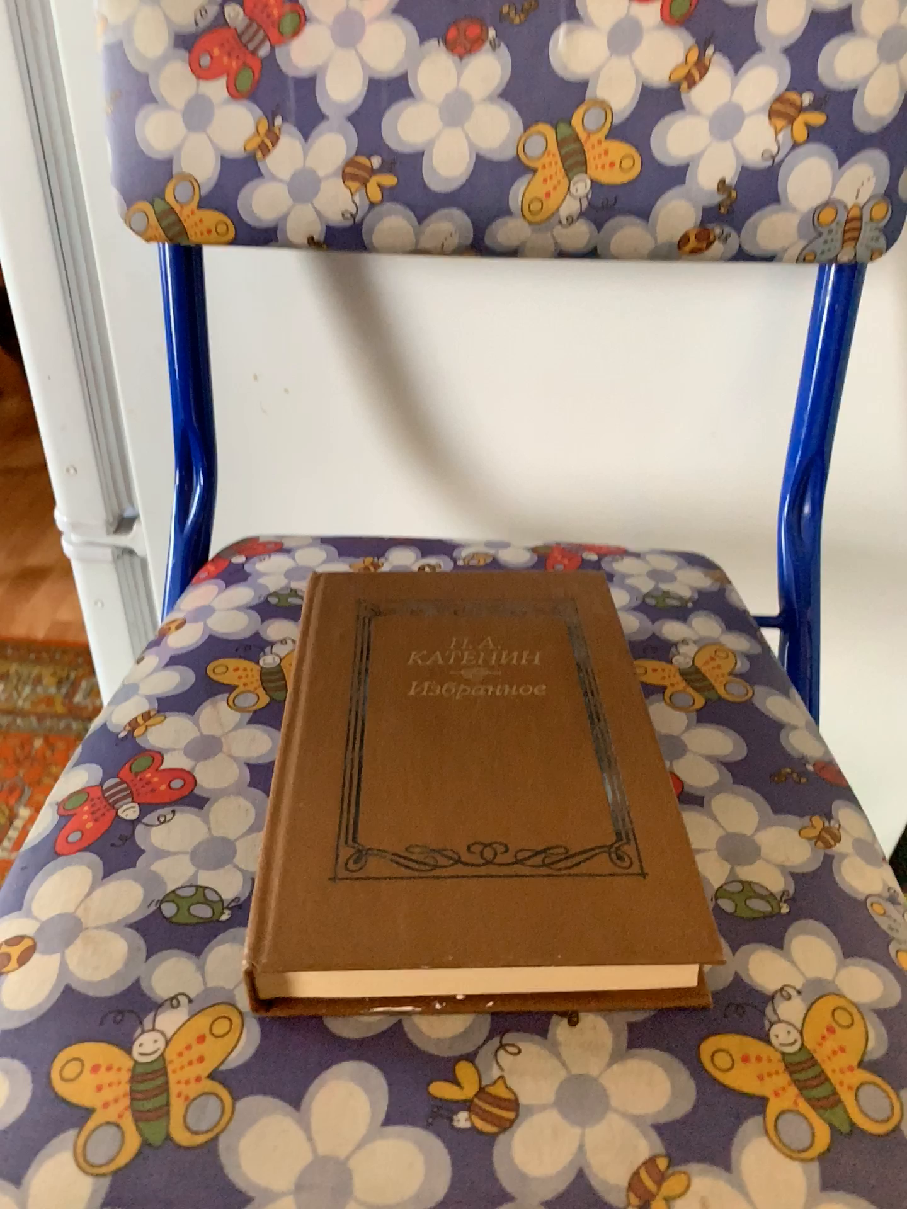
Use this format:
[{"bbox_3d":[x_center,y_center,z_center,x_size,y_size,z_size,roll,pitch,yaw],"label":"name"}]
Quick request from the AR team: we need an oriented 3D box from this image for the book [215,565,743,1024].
[{"bbox_3d":[0.003,0.043,0.294,0.124,0.020,0.172,-1,35,-3],"label":"book"}]
